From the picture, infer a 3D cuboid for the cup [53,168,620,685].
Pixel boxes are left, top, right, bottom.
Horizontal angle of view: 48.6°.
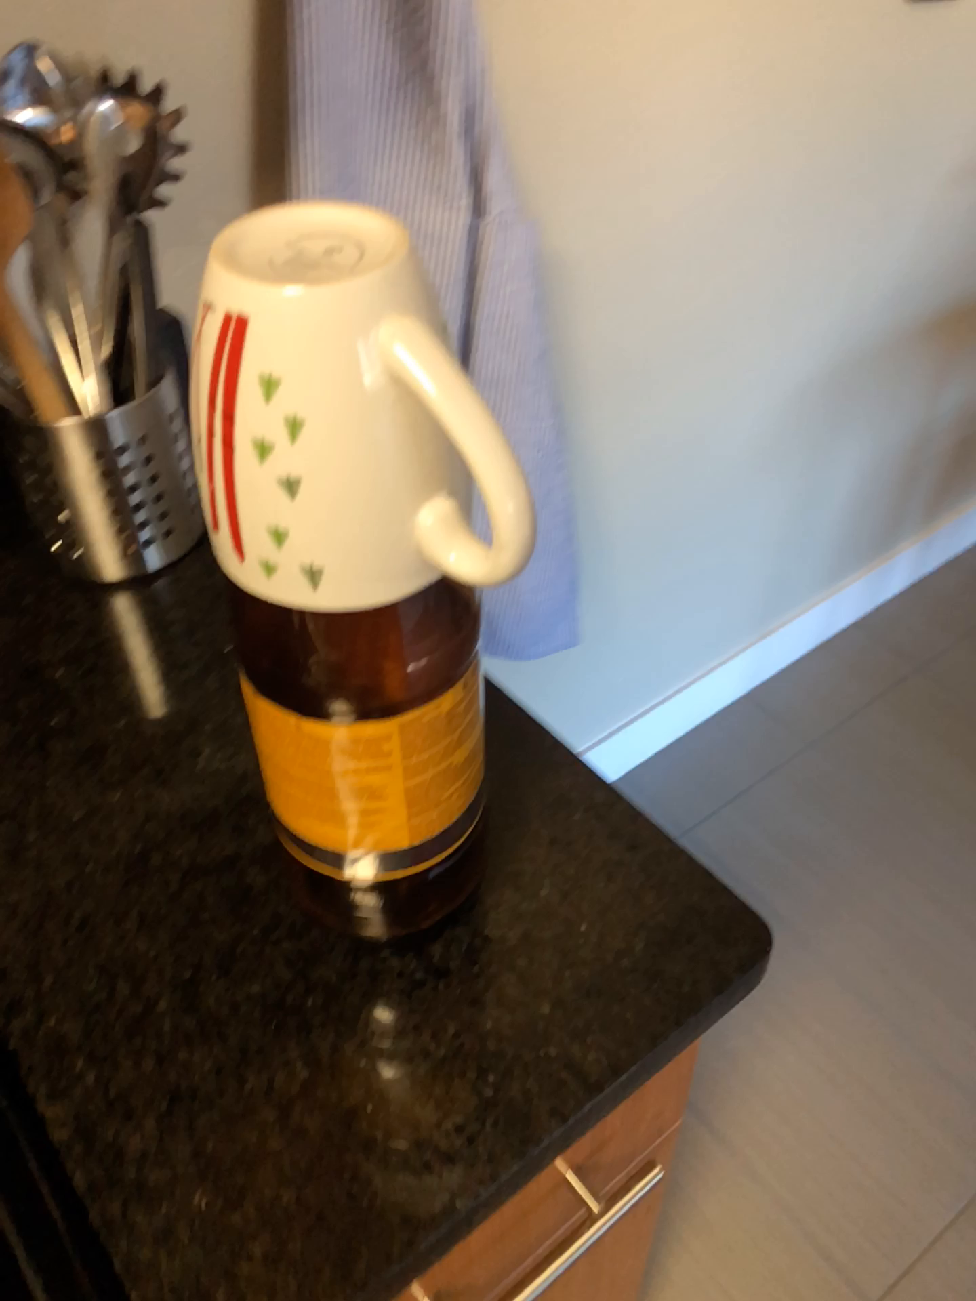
[{"bbox_3d":[-0.044,-0.081,0.365,0.140,0.109,0.100,19,45,21],"label":"cup"}]
